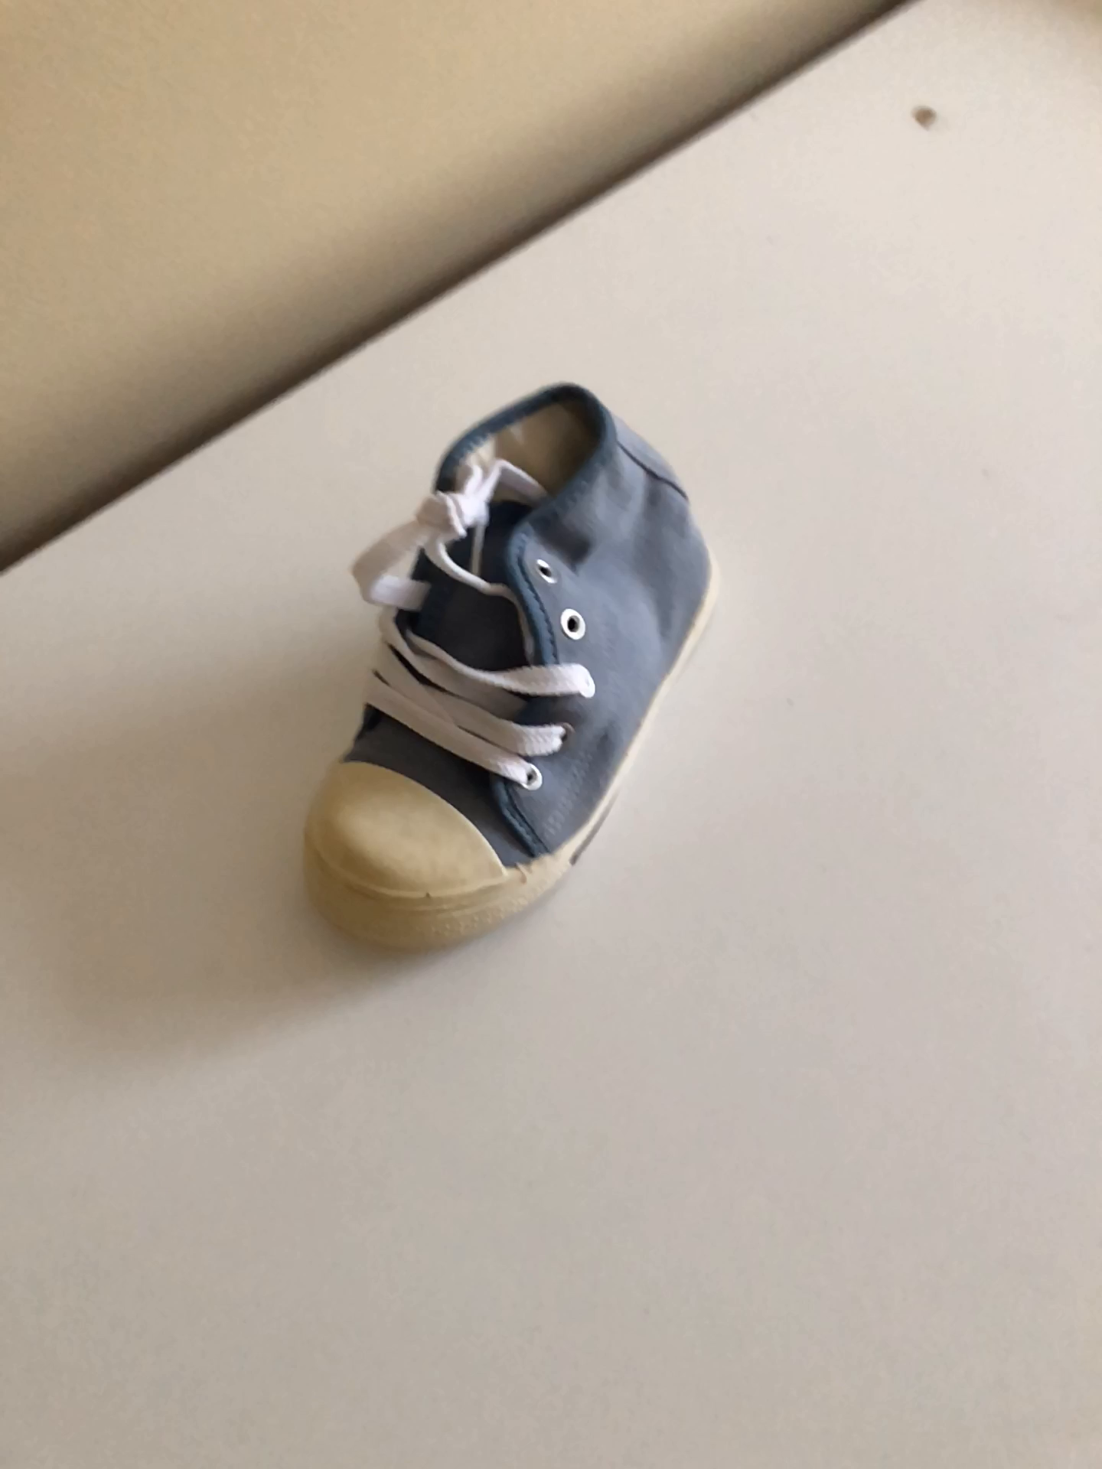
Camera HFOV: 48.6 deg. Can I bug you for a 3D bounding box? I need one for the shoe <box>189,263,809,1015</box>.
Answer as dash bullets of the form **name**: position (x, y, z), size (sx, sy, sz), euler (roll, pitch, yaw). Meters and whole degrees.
- **shoe**: position (-0.004, -0.033, 0.364), size (0.080, 0.100, 0.191), euler (24, 60, 15)
